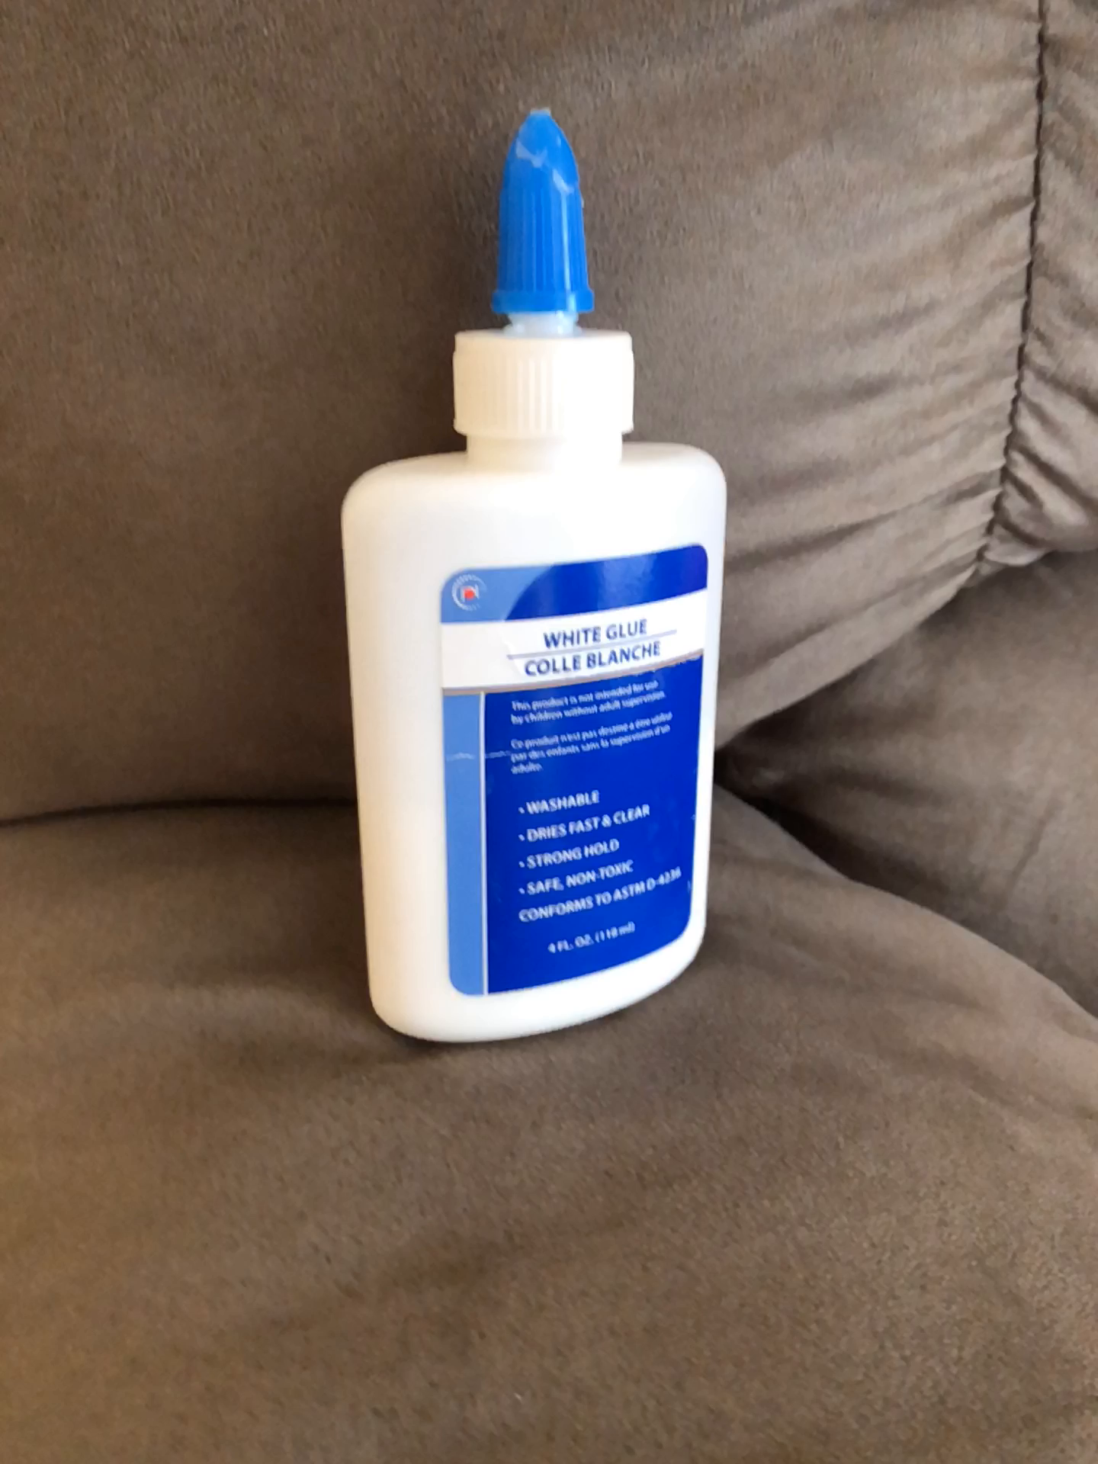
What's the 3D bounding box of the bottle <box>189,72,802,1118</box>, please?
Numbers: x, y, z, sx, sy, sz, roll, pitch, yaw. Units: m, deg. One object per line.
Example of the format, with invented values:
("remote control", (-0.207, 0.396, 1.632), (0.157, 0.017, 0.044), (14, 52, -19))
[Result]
("bottle", (-0.007, -0.019, 0.183), (0.070, 0.130, 0.040), (-10, 21, -27))
